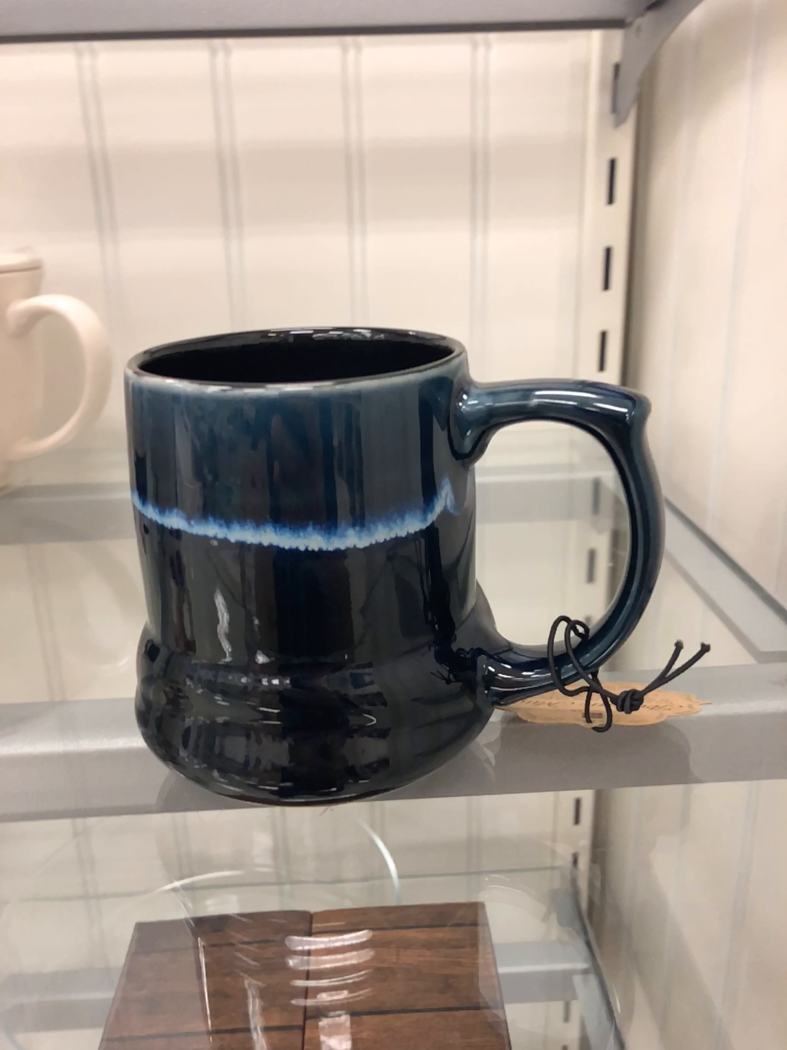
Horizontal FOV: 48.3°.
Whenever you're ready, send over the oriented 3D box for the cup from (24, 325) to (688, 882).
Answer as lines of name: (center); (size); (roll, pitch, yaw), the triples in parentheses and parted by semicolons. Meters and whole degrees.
cup: (-0.001, 0.008, 0.243); (0.140, 0.109, 0.101); (4, 21, 13)
